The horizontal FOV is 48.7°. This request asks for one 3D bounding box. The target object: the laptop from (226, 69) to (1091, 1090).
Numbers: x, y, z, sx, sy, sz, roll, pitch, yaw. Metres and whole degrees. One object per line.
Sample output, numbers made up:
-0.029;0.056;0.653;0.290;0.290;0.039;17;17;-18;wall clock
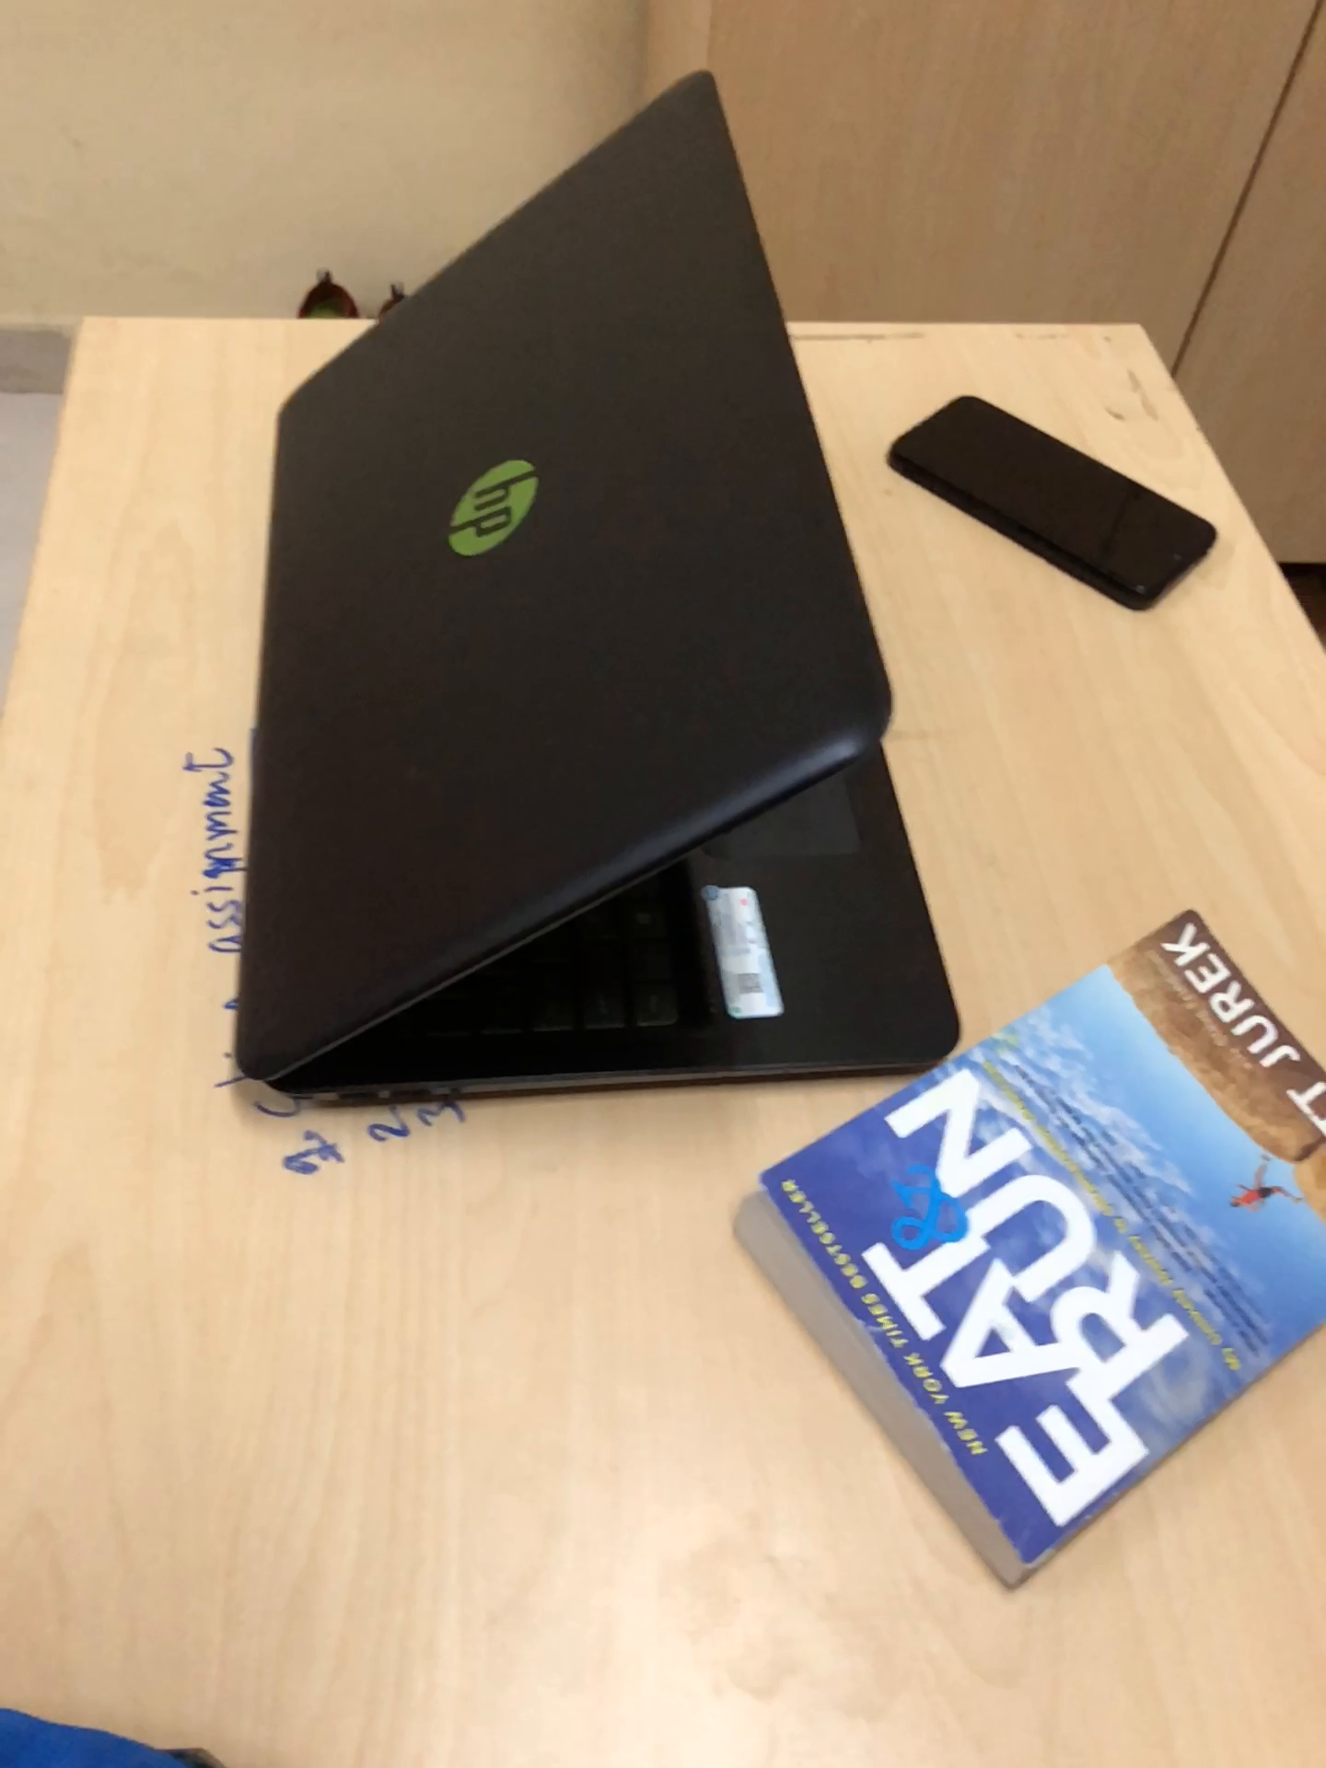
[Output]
-0.025;-0.132;0.556;0.231;0.167;0.361;-3;53;-9;laptop
